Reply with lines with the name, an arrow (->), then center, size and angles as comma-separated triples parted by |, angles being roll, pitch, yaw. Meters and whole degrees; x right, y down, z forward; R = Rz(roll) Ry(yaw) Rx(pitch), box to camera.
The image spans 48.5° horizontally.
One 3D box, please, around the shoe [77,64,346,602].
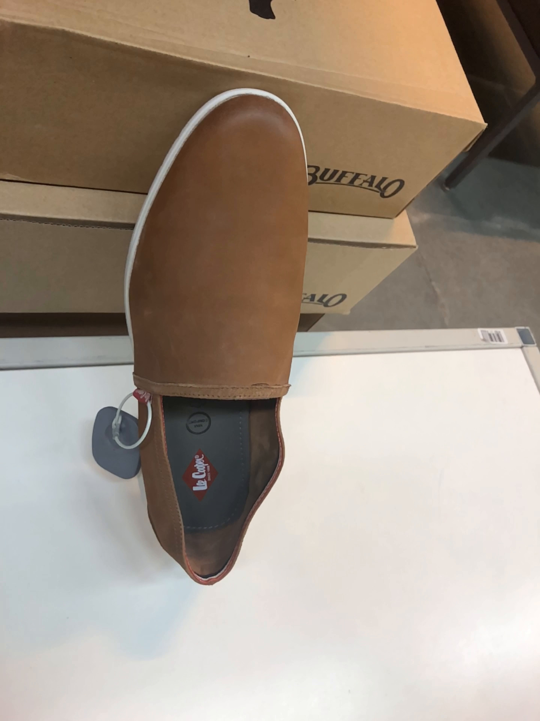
shoe -> -0.061, -0.017, 0.413 | 0.114, 0.310, 0.148 | 3, 20, -20
